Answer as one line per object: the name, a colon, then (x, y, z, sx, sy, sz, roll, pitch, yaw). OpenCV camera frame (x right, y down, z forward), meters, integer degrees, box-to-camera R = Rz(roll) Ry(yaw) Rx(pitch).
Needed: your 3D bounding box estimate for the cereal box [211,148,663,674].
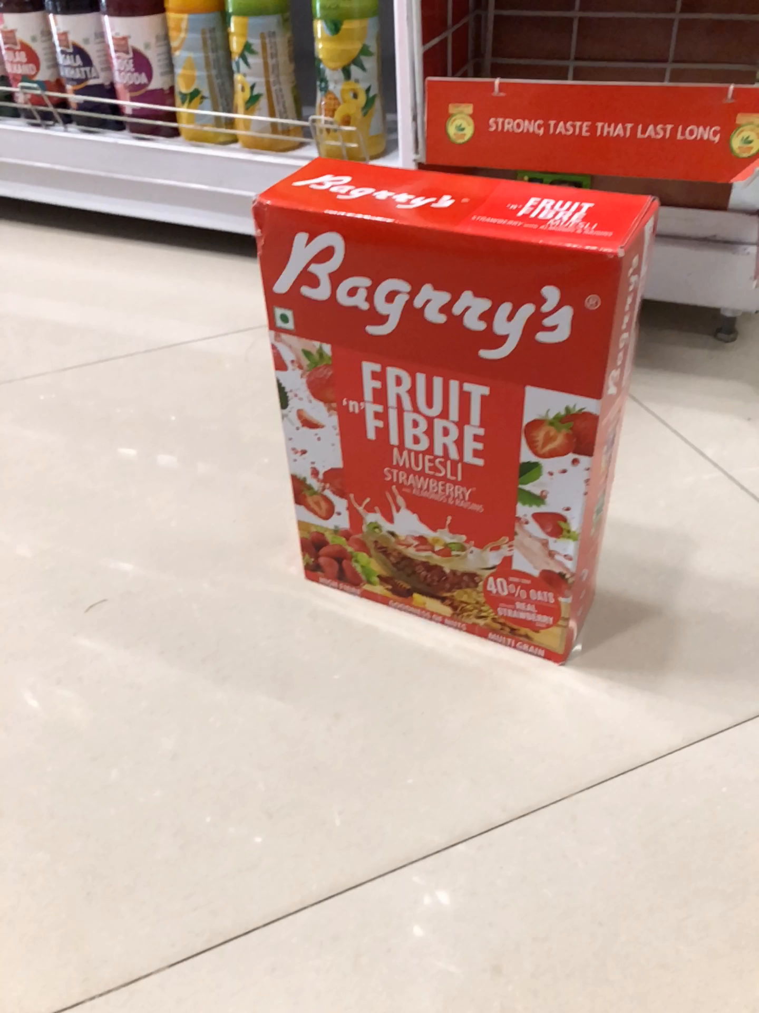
cereal box: (0.029, -0.048, 0.474, 0.200, 0.258, 0.070, 16, 43, 21)
